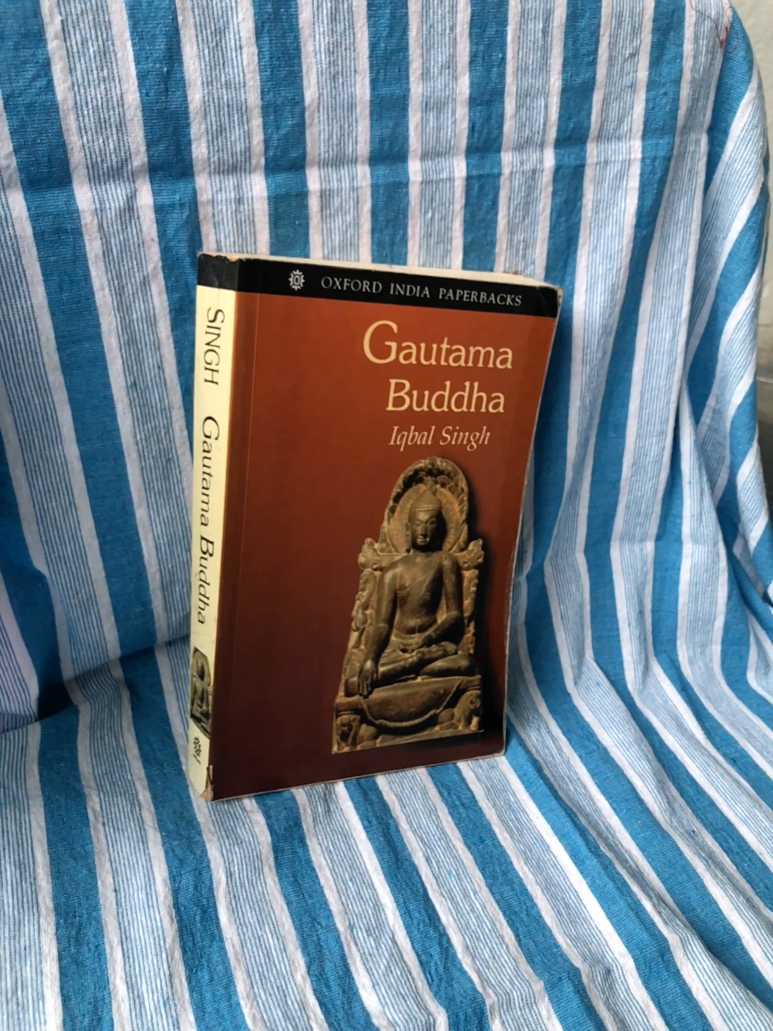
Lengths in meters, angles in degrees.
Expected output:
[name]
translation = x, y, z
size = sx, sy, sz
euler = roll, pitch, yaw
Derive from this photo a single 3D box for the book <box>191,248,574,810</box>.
[book]
translation = -0.006, 0.005, 0.353
size = 0.140, 0.209, 0.040
euler = -3, 16, -23
